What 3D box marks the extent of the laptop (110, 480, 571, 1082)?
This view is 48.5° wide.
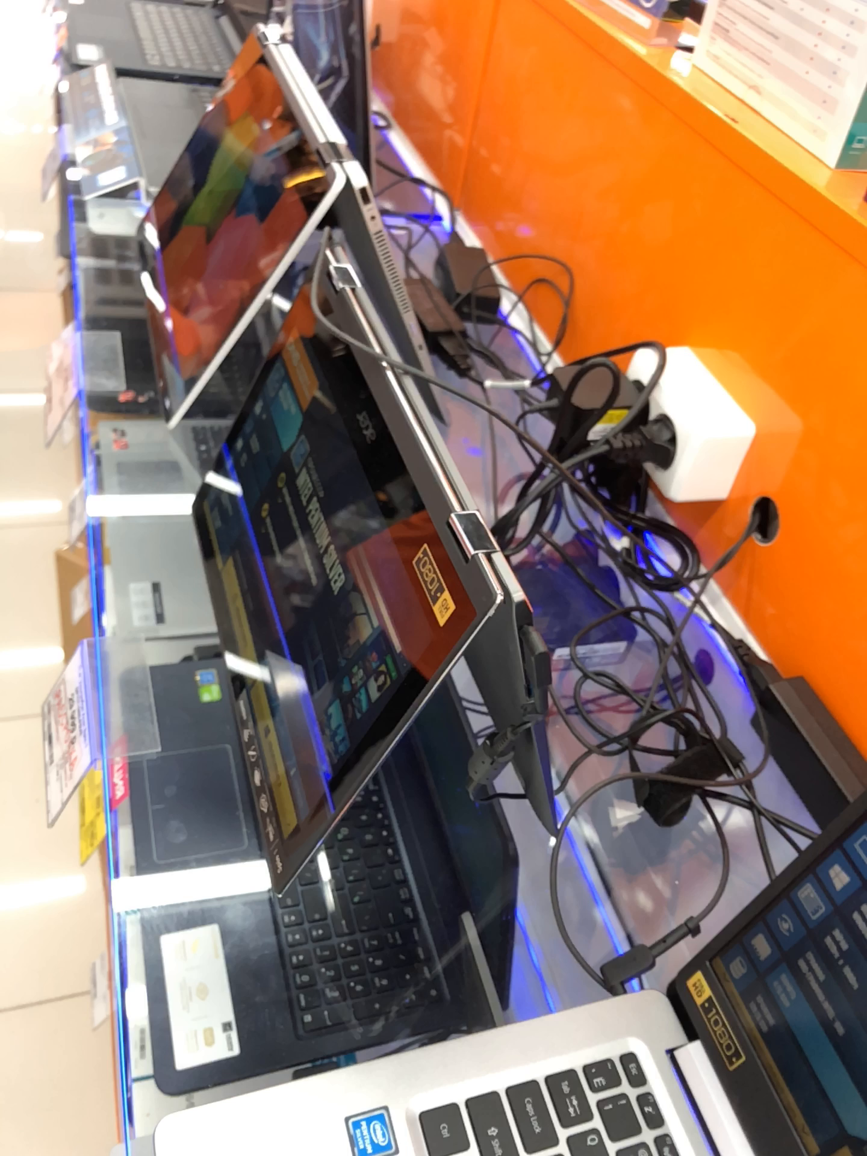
[{"bbox_3d":[-0.102,0.126,0.728,0.239,0.222,0.362,-4,44,-20],"label":"laptop"}]

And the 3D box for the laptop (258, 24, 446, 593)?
[{"bbox_3d":[-0.080,-0.226,0.845,0.182,0.148,0.300,29,27,-42],"label":"laptop"}]

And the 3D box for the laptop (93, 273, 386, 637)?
[{"bbox_3d":[-0.223,-0.144,1.009,0.222,0.202,0.364,-6,44,-16],"label":"laptop"}]

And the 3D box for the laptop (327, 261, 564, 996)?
[{"bbox_3d":[-0.003,0.044,0.585,0.182,0.142,0.278,34,24,-39],"label":"laptop"}]

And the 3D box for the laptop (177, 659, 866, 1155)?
[{"bbox_3d":[0.107,0.240,0.223,0.272,0.209,0.351,-7,46,-20],"label":"laptop"}]
